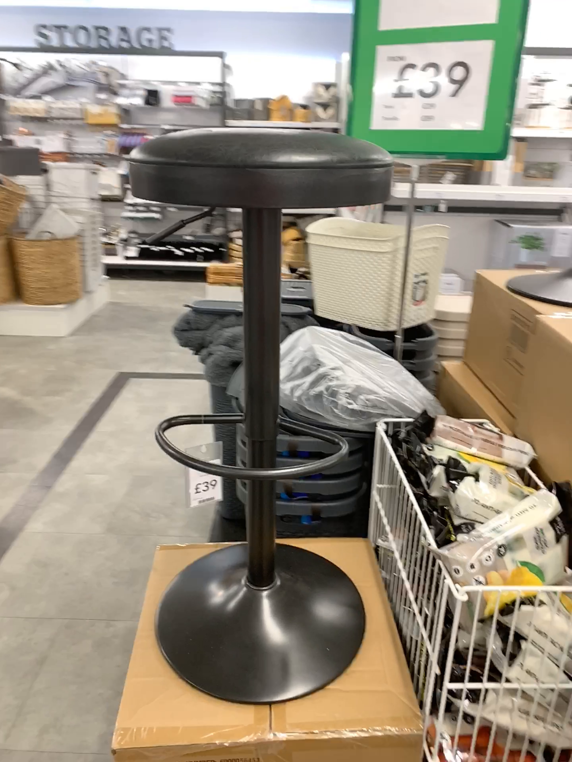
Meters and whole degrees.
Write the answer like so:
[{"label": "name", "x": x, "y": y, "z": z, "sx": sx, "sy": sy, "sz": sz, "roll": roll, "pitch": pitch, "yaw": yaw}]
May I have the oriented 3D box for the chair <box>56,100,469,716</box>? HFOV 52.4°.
[{"label": "chair", "x": -0.032, "y": 0.032, "z": 0.888, "sx": 0.396, "sy": 0.795, "sz": 0.410, "roll": 1, "pitch": 21, "yaw": 0}]
